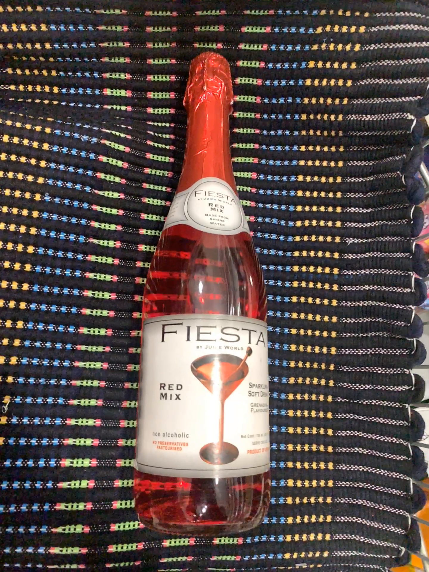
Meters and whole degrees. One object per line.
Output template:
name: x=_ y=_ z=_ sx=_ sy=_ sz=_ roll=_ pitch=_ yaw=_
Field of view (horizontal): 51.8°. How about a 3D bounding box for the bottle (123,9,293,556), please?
bottle: x=-0.007 y=-0.015 z=0.284 sx=0.080 sy=0.070 sz=0.310 roll=4 pitch=74 yaw=-13
